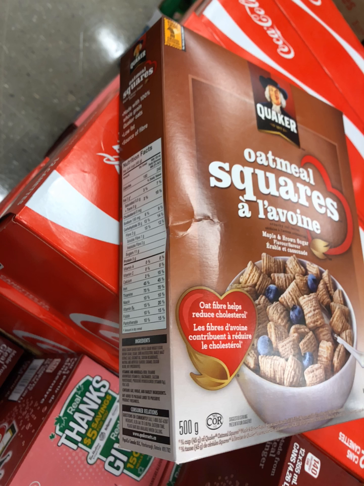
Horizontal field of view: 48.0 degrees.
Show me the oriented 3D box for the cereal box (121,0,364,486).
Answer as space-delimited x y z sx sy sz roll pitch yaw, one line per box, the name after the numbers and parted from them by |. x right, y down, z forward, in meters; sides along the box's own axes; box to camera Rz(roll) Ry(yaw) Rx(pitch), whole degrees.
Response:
0.075 -0.009 0.298 0.241 0.050 0.290 9 72 -36 | cereal box
